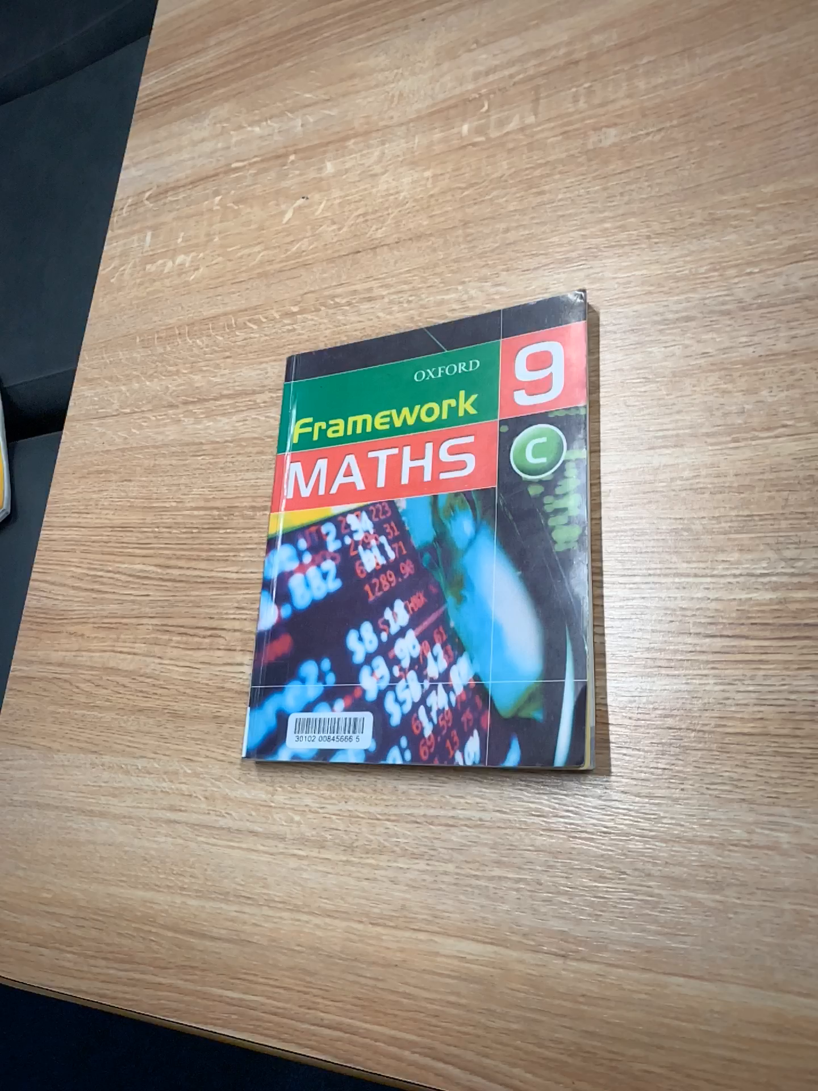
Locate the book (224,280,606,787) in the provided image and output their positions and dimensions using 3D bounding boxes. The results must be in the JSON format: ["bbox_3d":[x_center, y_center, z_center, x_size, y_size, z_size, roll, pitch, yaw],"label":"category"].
[{"bbox_3d":[0.001,-0.006,0.433,0.190,0.020,0.244,-6,70,25],"label":"book"}]
